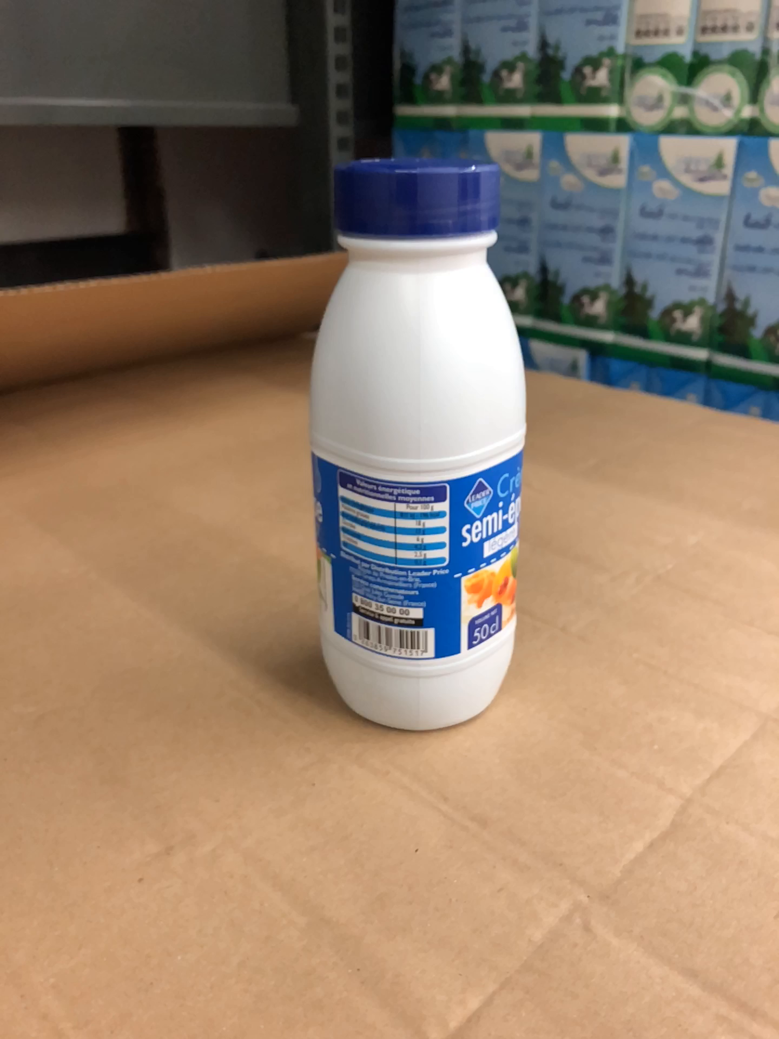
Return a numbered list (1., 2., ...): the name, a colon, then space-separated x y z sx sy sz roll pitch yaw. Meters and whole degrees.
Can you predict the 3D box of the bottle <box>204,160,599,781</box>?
1. bottle: 0.006 -0.022 0.279 0.080 0.169 0.080 0 24 0
